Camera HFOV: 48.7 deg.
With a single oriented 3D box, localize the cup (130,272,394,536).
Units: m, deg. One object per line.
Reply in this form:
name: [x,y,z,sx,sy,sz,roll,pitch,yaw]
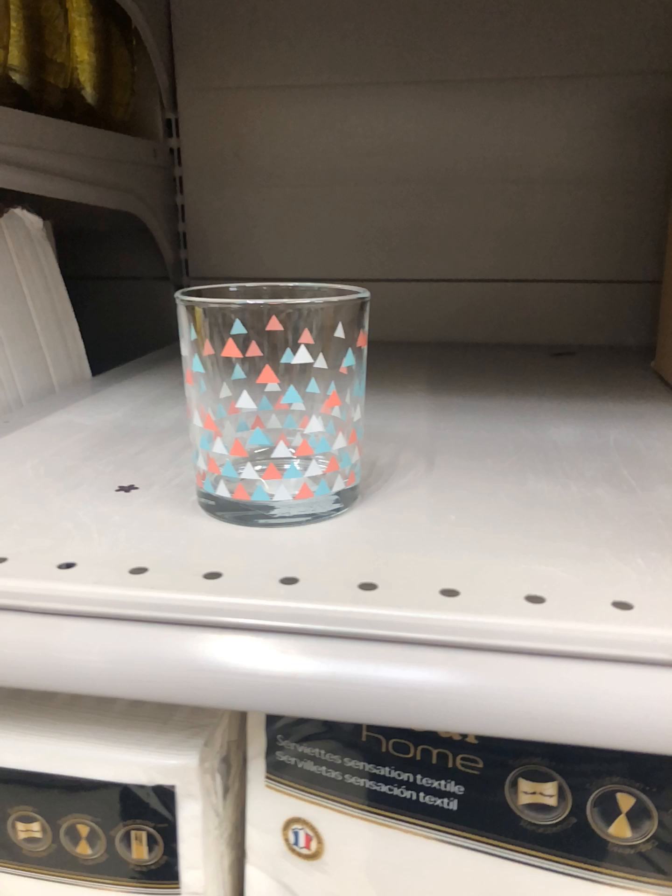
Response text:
cup: [-0.022,-0.022,0.283,0.076,0.081,0.077,0,17,0]
